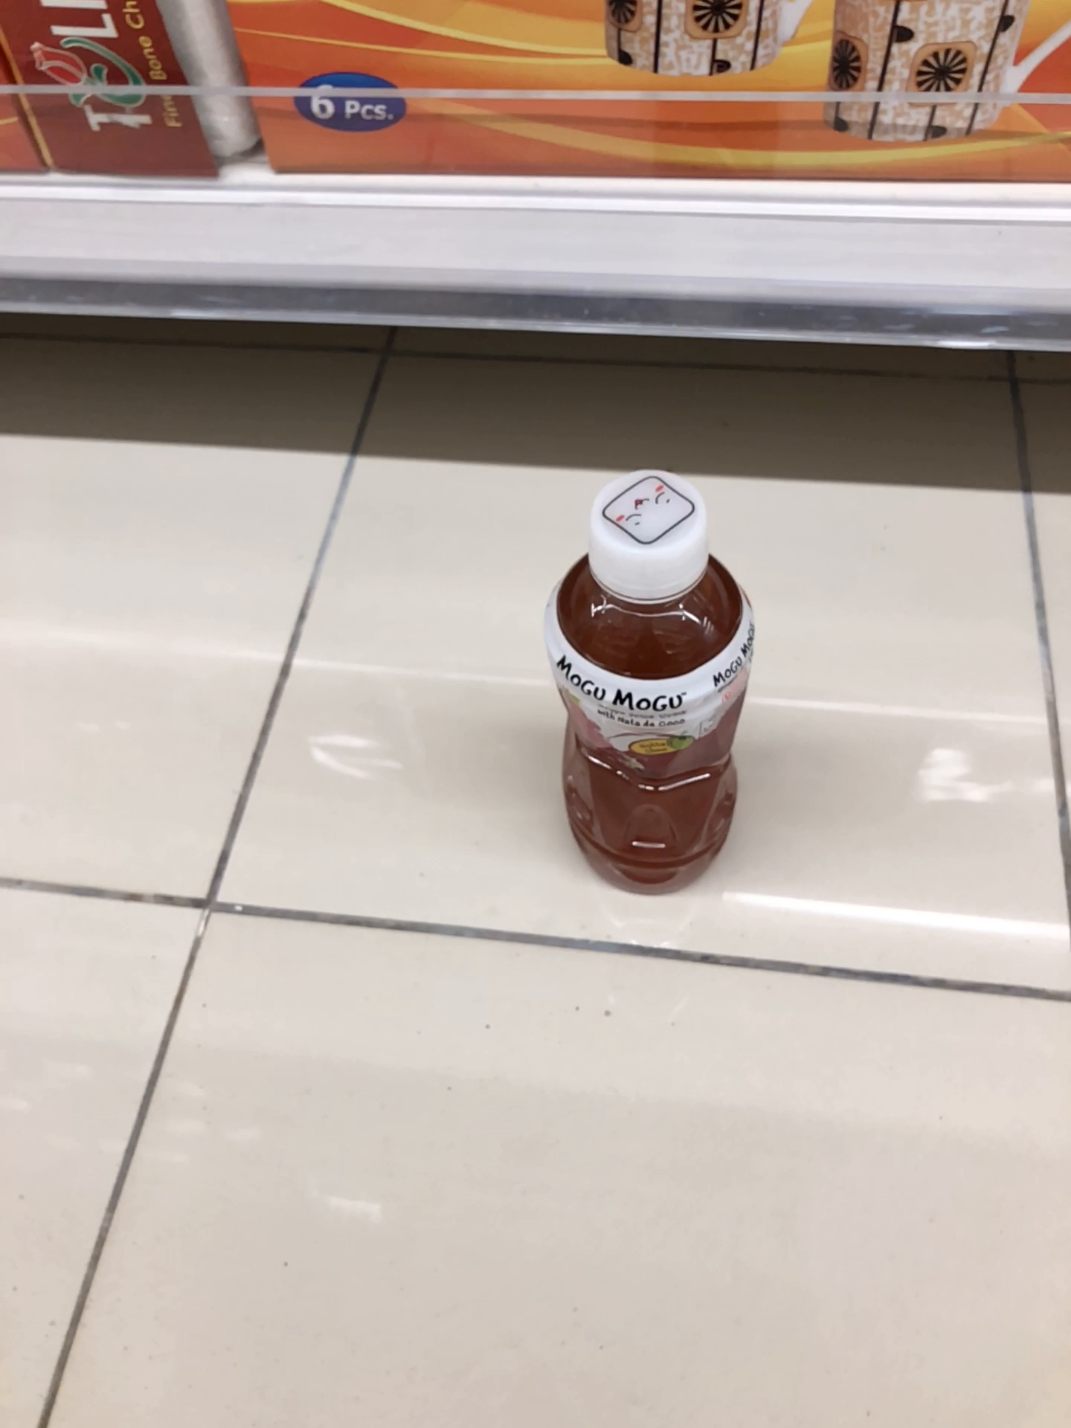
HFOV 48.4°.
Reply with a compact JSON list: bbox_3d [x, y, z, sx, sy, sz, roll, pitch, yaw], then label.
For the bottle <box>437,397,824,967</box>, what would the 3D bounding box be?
[{"bbox_3d":[0.030,-0.001,0.357,0.070,0.159,0.070,-2,55,3],"label":"bottle"}]
